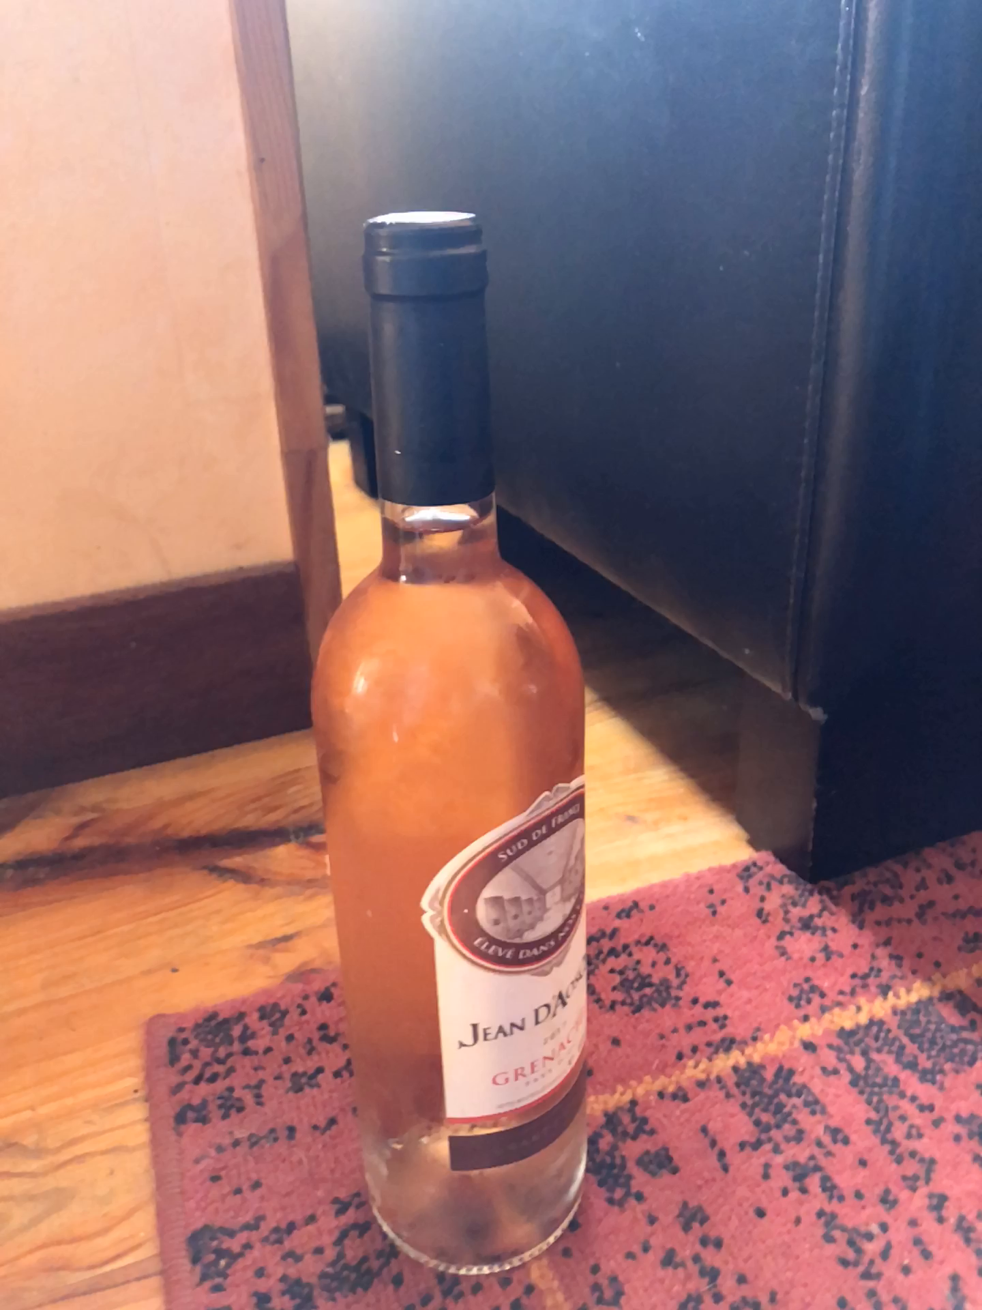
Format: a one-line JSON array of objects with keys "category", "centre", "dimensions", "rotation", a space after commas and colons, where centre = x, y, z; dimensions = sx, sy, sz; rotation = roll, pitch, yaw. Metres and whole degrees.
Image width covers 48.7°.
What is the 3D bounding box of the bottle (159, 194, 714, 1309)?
[{"category": "bottle", "centre": [-0.005, 0.043, 0.303], "dimensions": [0.080, 0.308, 0.091], "rotation": [21, 35, 39]}]
